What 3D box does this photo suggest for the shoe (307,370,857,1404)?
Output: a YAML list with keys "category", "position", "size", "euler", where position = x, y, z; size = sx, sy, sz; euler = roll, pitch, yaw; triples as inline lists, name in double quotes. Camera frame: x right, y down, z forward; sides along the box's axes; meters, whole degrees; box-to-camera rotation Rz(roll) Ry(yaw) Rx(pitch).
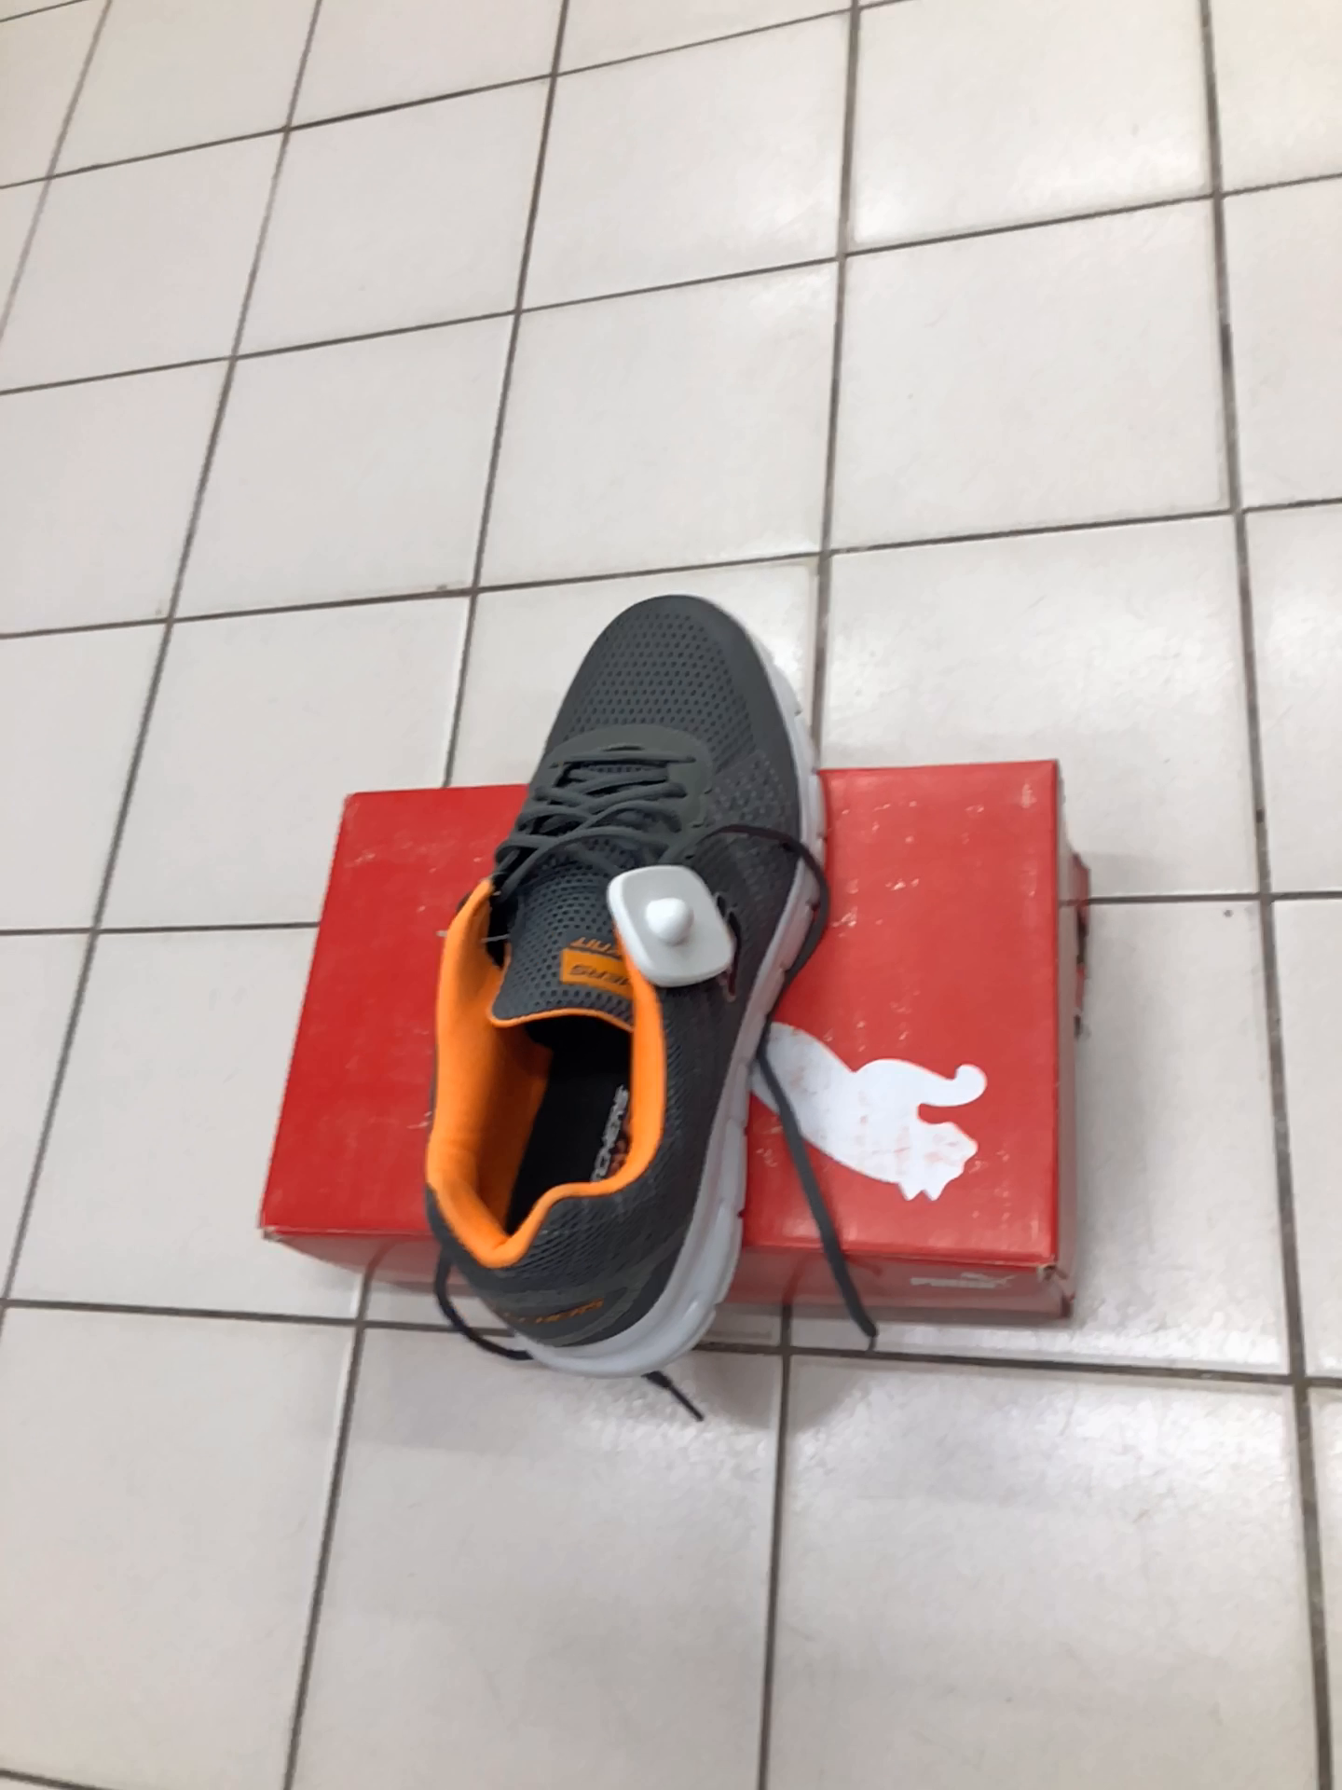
- category: "shoe"
  position: [-0.011, 0.000, 0.503]
  size: [0.110, 0.140, 0.311]
  euler: [-1, 67, 17]
